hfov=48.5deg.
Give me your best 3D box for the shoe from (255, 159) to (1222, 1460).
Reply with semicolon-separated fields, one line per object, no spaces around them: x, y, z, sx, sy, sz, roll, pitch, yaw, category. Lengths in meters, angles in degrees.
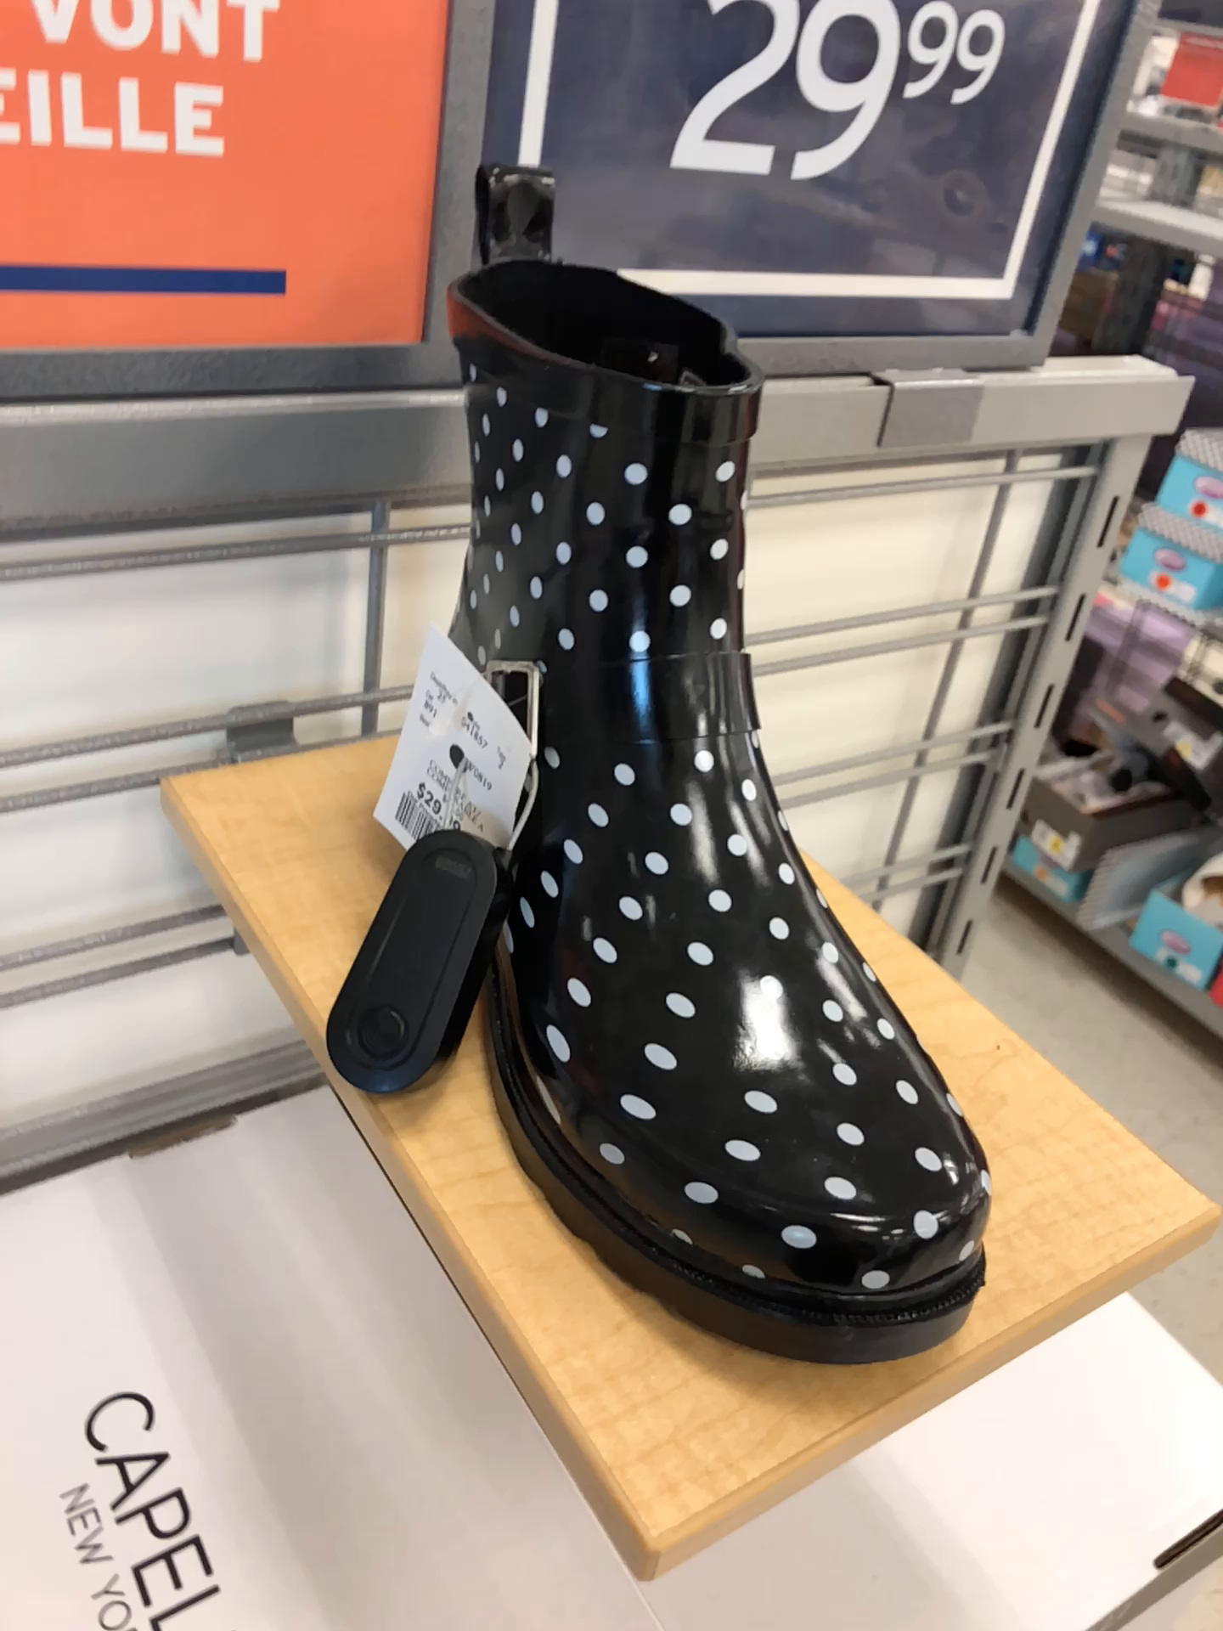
-0.002;-0.029;0.332;0.095;0.188;0.262;-10;37;-28;shoe
